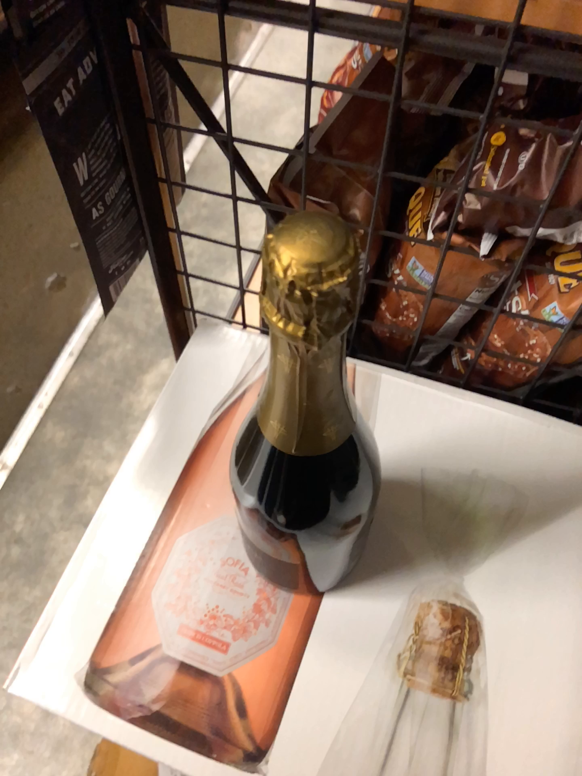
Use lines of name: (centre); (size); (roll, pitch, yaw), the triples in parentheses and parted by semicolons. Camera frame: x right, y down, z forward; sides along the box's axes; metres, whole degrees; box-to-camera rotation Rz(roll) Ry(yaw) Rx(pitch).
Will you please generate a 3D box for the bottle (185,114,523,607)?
bottle: (0.012, 0.027, 0.326); (0.090, 0.310, 0.090); (1, 59, -1)
